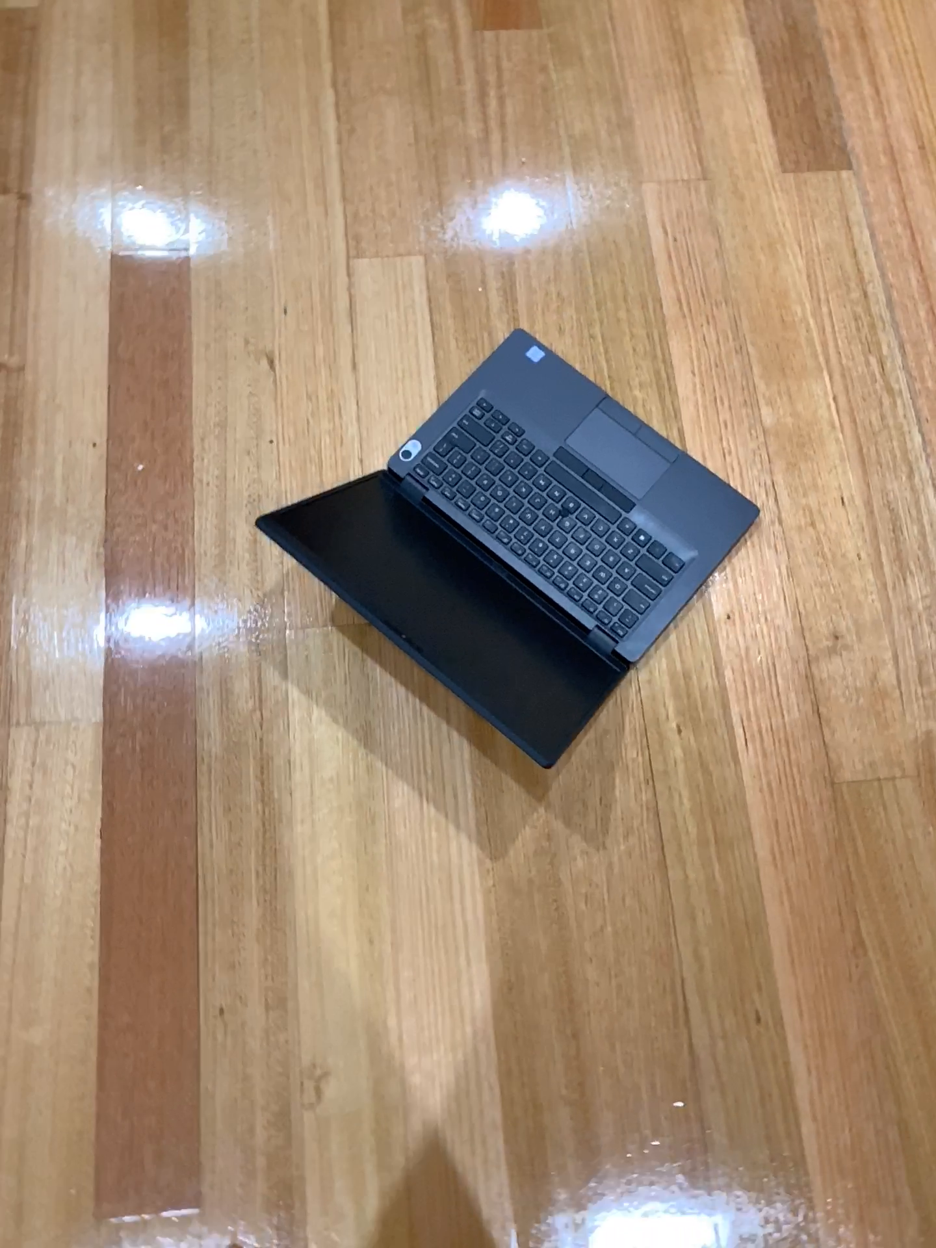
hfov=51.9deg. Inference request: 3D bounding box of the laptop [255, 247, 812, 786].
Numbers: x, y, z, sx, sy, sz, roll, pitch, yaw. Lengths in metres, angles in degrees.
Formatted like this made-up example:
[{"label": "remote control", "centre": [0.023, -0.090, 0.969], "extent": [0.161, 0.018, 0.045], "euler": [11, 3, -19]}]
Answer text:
[{"label": "laptop", "centre": [0.060, -0.103, 0.900], "extent": [0.320, 0.134, 0.372], "euler": [39, 75, 9]}]
